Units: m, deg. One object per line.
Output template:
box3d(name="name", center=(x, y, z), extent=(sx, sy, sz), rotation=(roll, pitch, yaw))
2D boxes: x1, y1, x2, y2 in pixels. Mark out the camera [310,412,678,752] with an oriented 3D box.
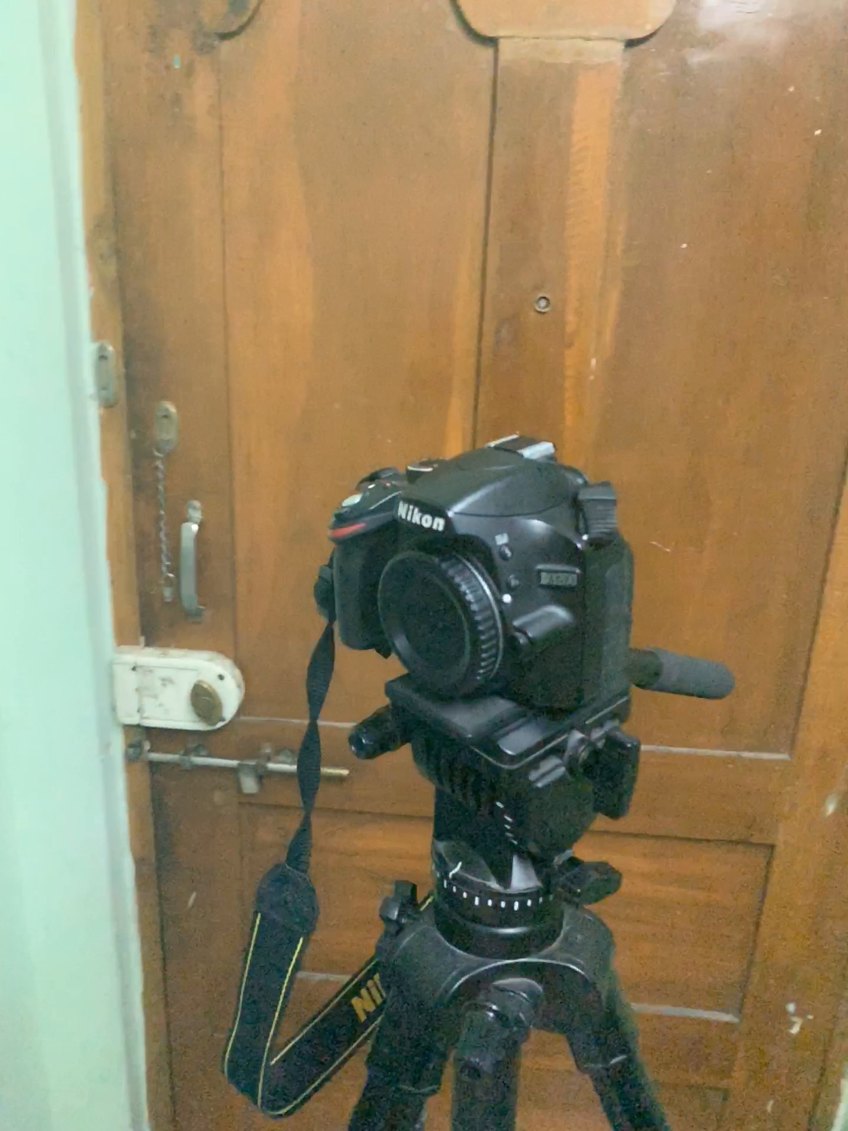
box3d(name="camera", center=(0.023, -0.004, 0.356), extent=(0.086, 0.096, 0.118), rotation=(-14, 24, -40))
